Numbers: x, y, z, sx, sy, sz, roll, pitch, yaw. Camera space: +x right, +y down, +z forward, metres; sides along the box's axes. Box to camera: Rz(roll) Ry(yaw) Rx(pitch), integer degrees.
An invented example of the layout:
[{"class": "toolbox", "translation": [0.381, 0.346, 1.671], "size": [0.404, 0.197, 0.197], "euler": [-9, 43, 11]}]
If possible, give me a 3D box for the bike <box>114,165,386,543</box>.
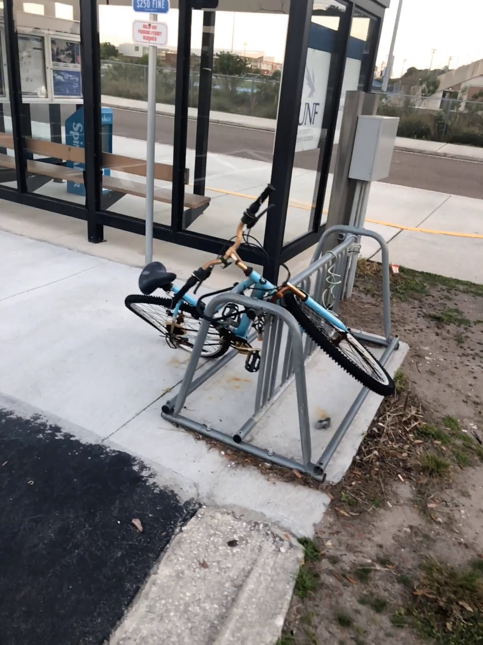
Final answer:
[{"class": "bike", "translation": [-0.065, 0.018, 2.085], "size": [0.549, 1.128, 0.940], "euler": [-14, 29, -37]}]
